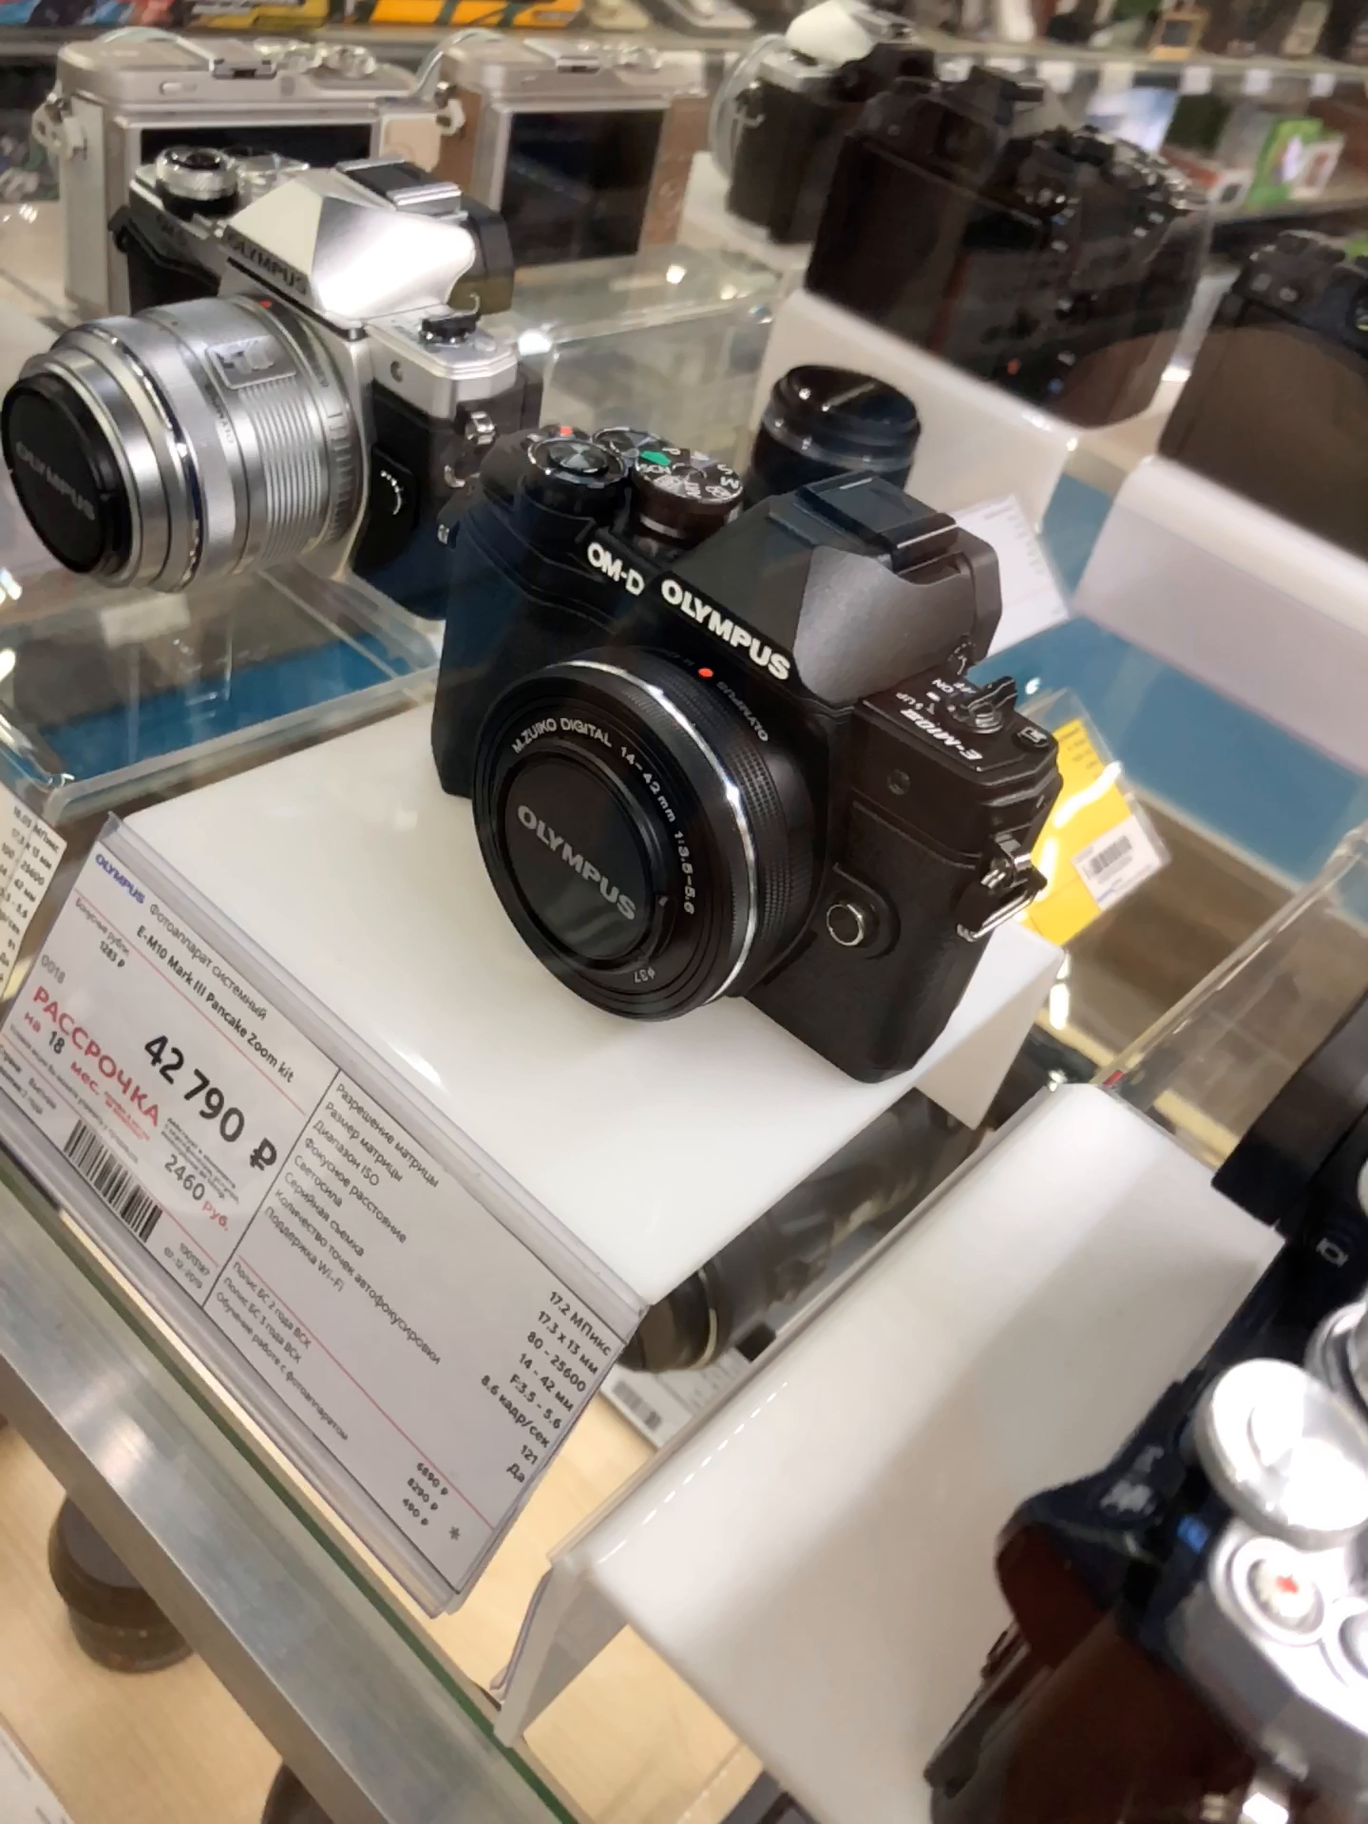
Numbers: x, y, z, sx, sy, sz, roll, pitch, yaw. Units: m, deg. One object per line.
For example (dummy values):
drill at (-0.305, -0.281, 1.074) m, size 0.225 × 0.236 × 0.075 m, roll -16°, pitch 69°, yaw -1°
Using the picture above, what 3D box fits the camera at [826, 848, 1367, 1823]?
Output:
camera at (0.098, 0.067, 0.171) m, size 0.094 × 0.074 × 0.124 m, roll 36°, pitch 42°, yaw 24°

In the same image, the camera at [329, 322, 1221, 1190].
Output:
camera at (0.006, -0.034, 0.265) m, size 0.129 × 0.082 × 0.064 m, roll 39°, pitch 43°, yaw 27°

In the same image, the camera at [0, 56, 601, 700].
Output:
camera at (-0.096, -0.118, 0.323) m, size 0.112 × 0.080 × 0.094 m, roll 39°, pitch 43°, yaw 27°
